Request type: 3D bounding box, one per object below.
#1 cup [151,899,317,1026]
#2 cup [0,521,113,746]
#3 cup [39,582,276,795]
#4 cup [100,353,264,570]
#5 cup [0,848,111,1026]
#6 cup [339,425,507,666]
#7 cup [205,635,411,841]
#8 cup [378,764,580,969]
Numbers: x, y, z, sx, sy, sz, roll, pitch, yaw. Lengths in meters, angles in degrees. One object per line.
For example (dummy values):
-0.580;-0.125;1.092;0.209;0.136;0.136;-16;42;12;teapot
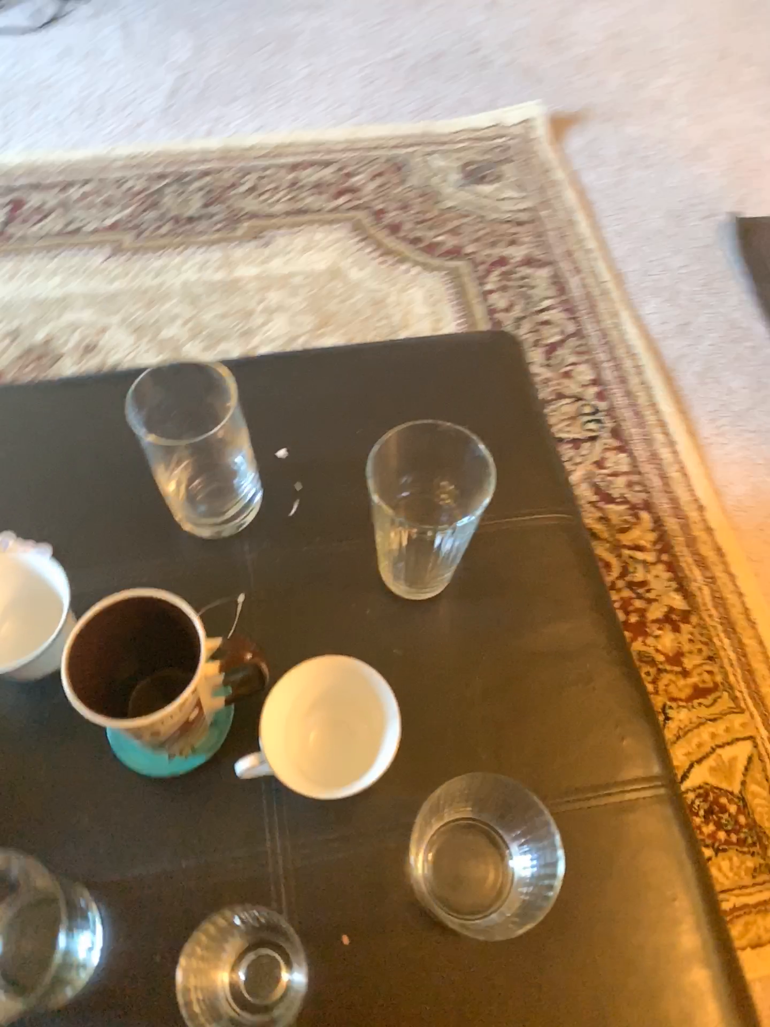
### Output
-0.086;0.283;0.468;0.070;0.100;0.070;1;60;-2;cup
-0.278;0.087;0.572;0.090;0.080;0.110;-39;69;-22;cup
-0.150;0.123;0.543;0.130;0.120;0.090;-9;61;-8;cup
-0.152;-0.036;0.610;0.090;0.140;0.090;1;60;-2;cup
-0.227;0.265;0.466;0.090;0.120;0.090;1;60;-2;cup
0.019;0.033;0.603;0.090;0.189;0.090;1;60;-2;cup
-0.052;0.151;0.531;0.110;0.070;0.090;-15;62;-12;cup
0.053;0.232;0.512;0.090;0.120;0.090;1;60;-2;cup
